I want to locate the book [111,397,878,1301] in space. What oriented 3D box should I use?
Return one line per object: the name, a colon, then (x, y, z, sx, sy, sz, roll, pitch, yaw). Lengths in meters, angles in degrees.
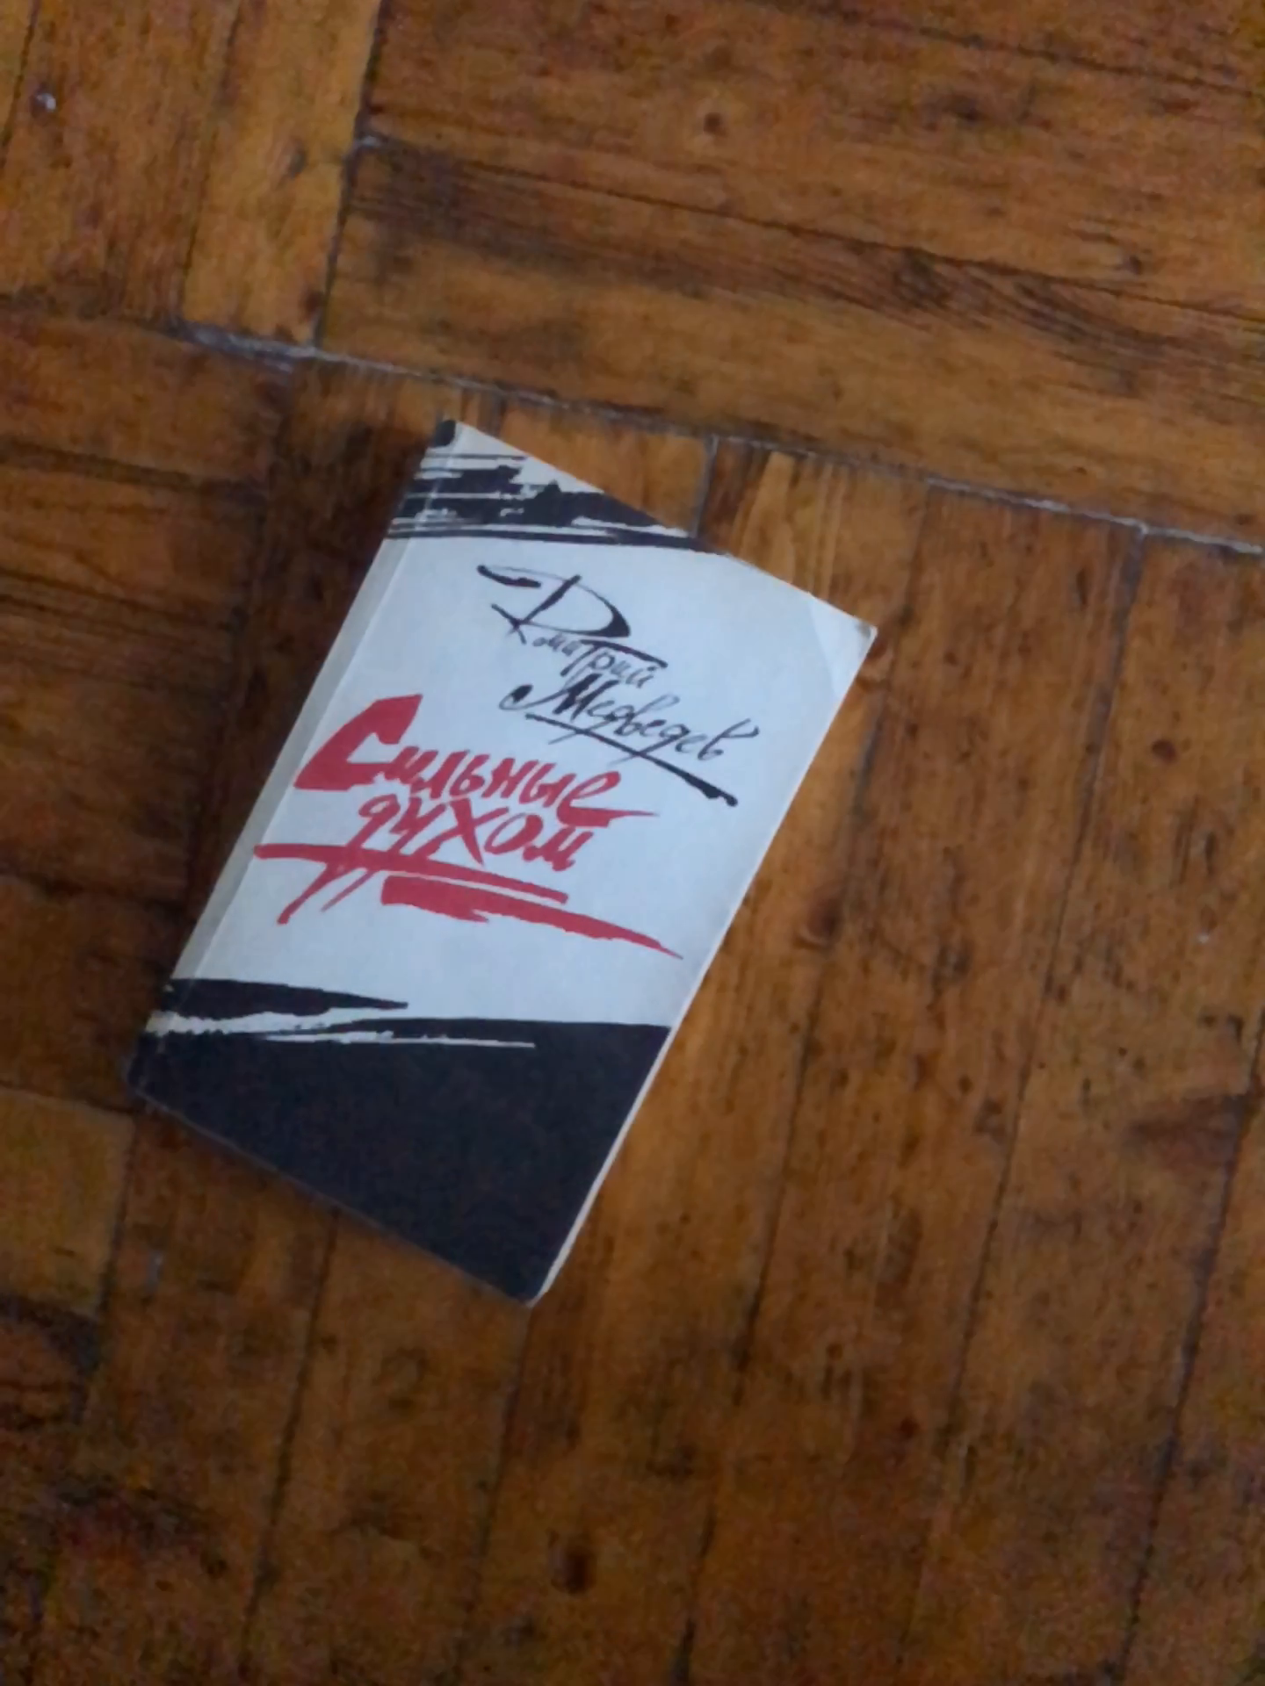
book: (-0.038, 0.001, 0.411, 0.140, 0.050, 0.210, 23, 91, 2)
